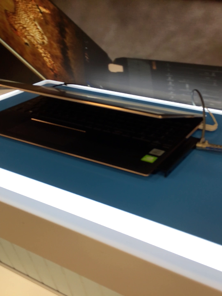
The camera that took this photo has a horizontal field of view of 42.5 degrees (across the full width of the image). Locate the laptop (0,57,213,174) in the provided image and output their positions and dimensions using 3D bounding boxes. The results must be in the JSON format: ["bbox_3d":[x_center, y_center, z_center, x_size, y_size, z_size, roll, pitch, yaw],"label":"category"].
[{"bbox_3d":[-0.045,-0.088,0.562,0.379,0.090,0.228,16,37,24],"label":"laptop"}]
